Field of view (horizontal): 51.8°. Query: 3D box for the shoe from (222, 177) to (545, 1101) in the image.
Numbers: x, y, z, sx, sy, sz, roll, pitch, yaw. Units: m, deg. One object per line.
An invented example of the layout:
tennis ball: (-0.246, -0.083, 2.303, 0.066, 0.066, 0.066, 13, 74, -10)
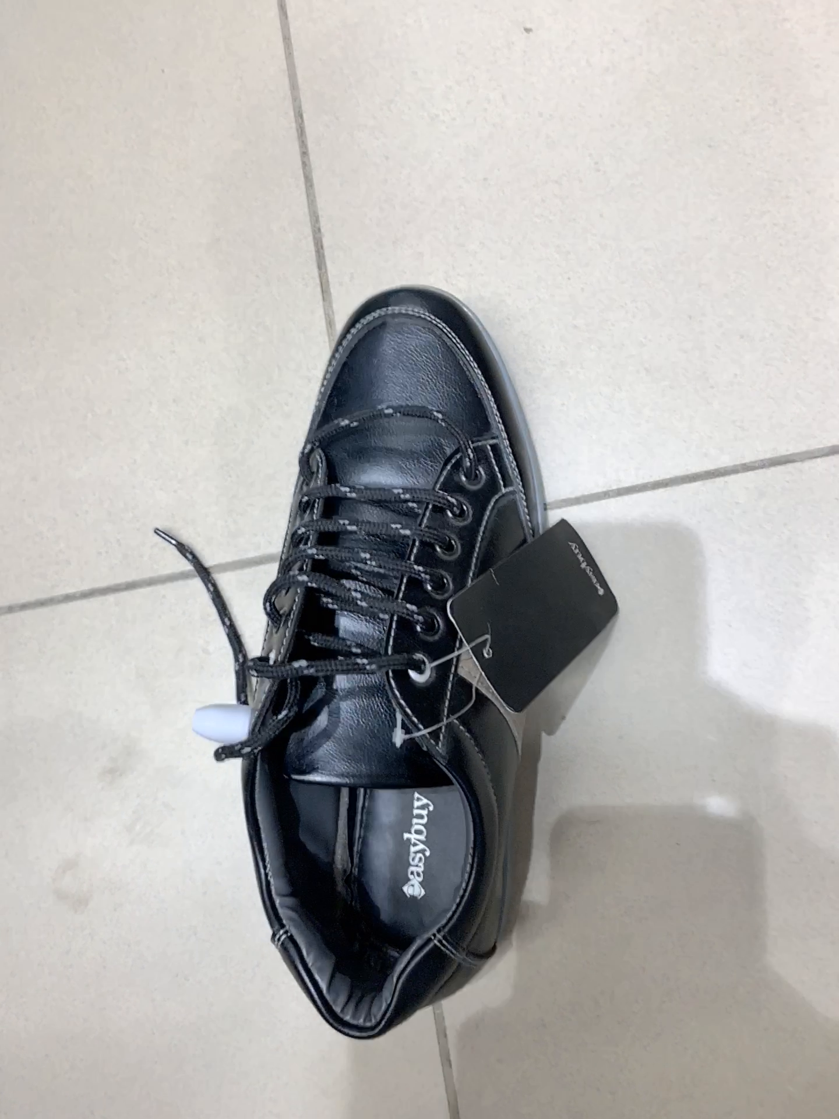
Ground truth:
shoe: (-0.007, 0.023, 0.335, 0.100, 0.090, 0.300, -1, 83, 11)
